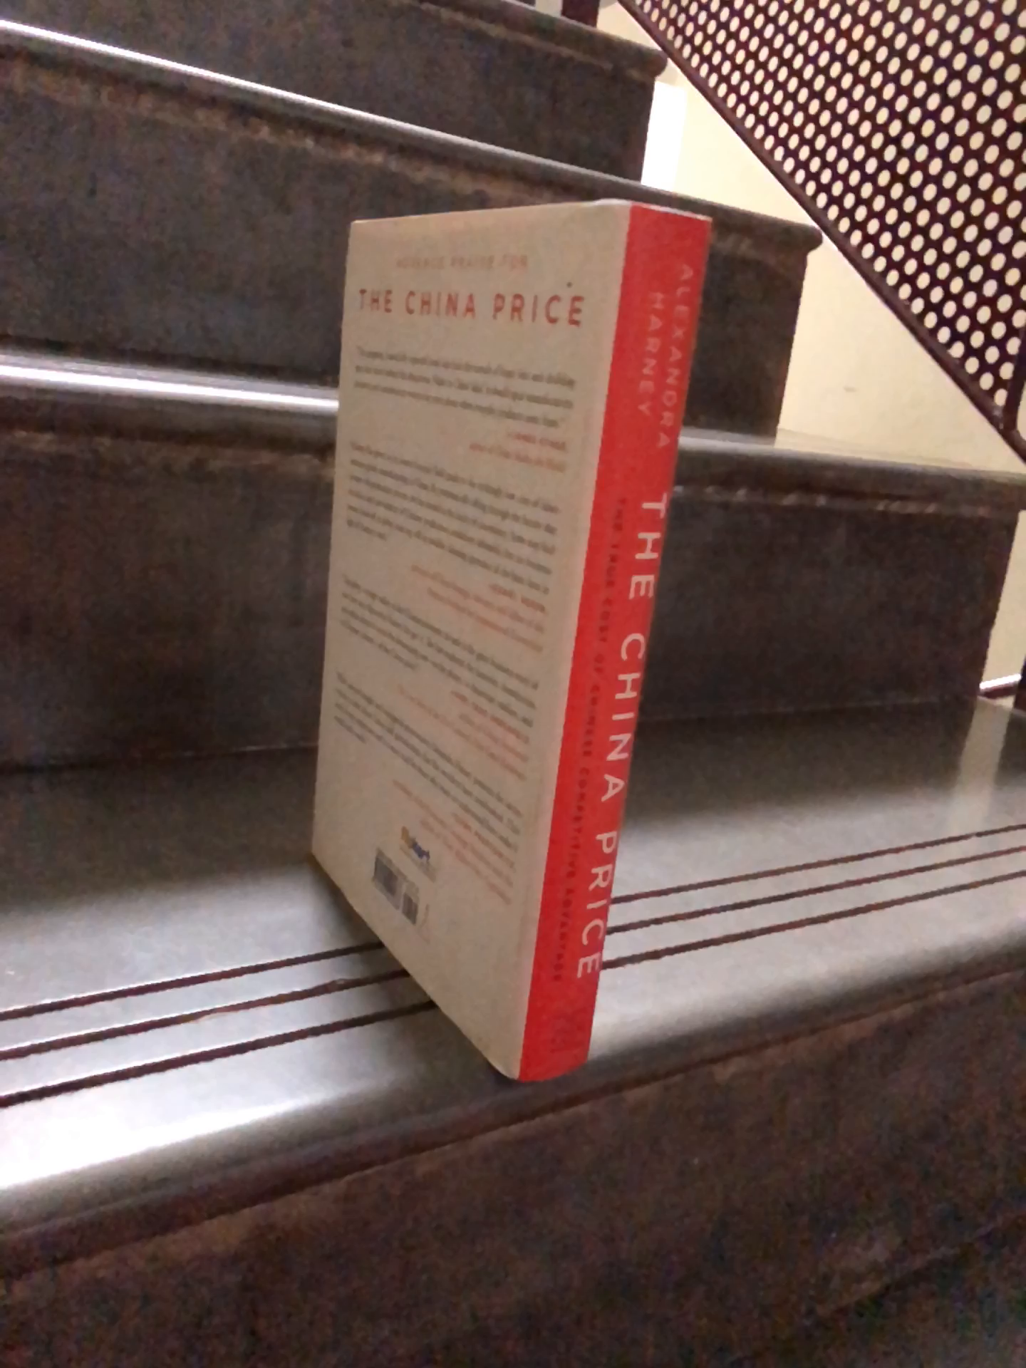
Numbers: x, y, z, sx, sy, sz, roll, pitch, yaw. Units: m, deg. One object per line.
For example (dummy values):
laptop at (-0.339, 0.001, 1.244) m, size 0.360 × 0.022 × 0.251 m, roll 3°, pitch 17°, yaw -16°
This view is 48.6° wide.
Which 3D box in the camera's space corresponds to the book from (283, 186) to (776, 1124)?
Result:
book at (-0.015, -0.022, 0.361) m, size 0.040 × 0.239 × 0.180 m, roll -3°, pitch 19°, yaw -31°
